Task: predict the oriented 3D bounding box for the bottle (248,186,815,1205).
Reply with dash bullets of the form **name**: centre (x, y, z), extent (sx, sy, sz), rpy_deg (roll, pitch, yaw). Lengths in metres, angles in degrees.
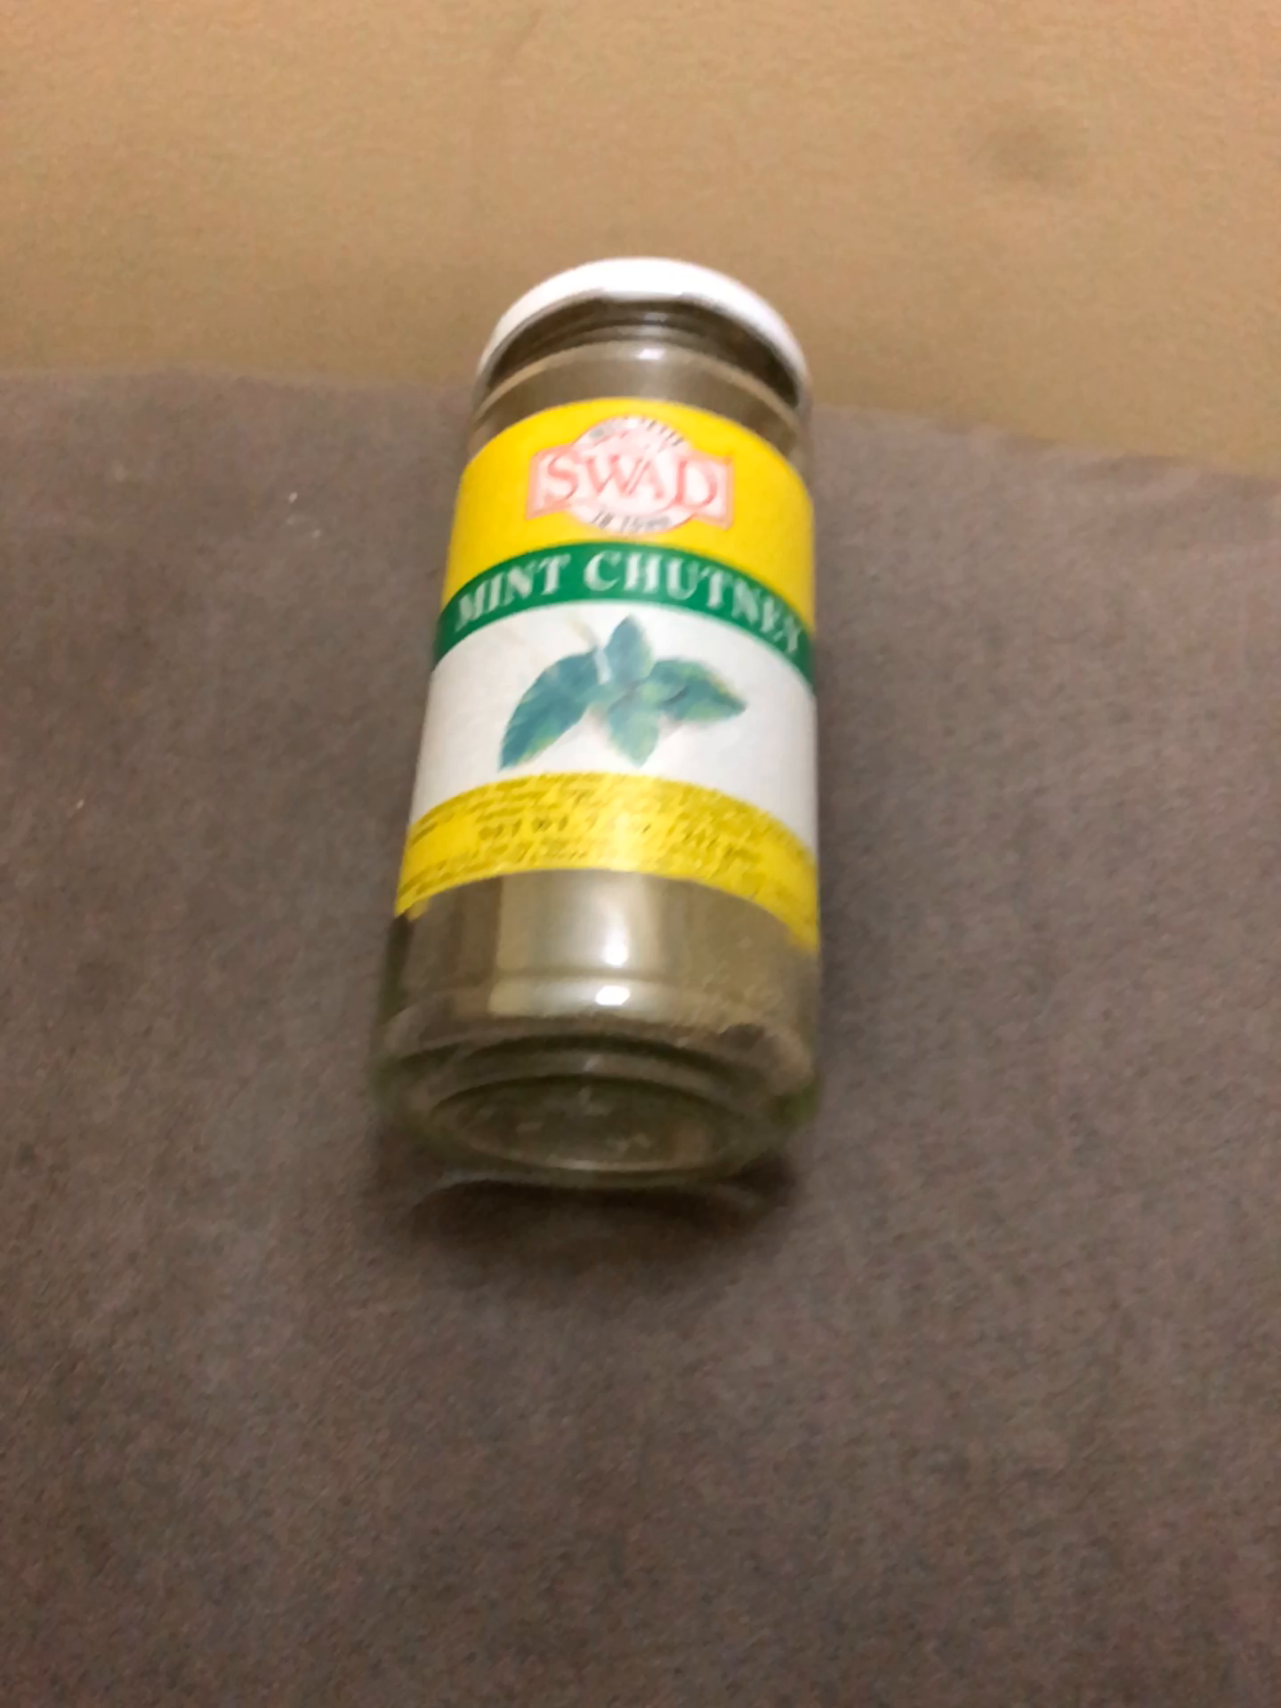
- **bottle**: centre (-0.006, -0.026, 0.210), extent (0.060, 0.059, 0.137), rpy_deg (0, 60, 6)
